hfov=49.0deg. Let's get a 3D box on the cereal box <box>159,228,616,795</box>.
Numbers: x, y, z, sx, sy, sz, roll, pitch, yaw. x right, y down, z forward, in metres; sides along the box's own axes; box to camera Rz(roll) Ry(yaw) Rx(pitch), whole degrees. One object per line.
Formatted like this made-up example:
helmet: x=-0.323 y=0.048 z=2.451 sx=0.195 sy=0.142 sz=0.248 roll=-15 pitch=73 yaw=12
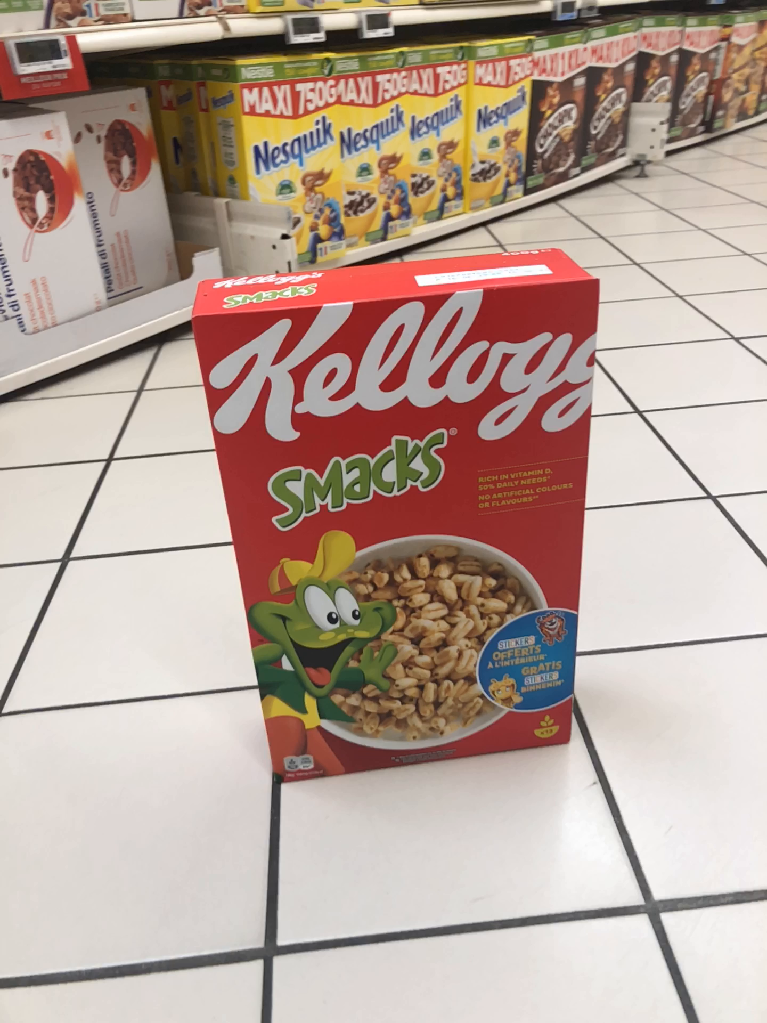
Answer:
cereal box: x=0.008 y=0.011 z=0.475 sx=0.200 sy=0.298 sz=0.080 roll=-7 pitch=31 yaw=-5
